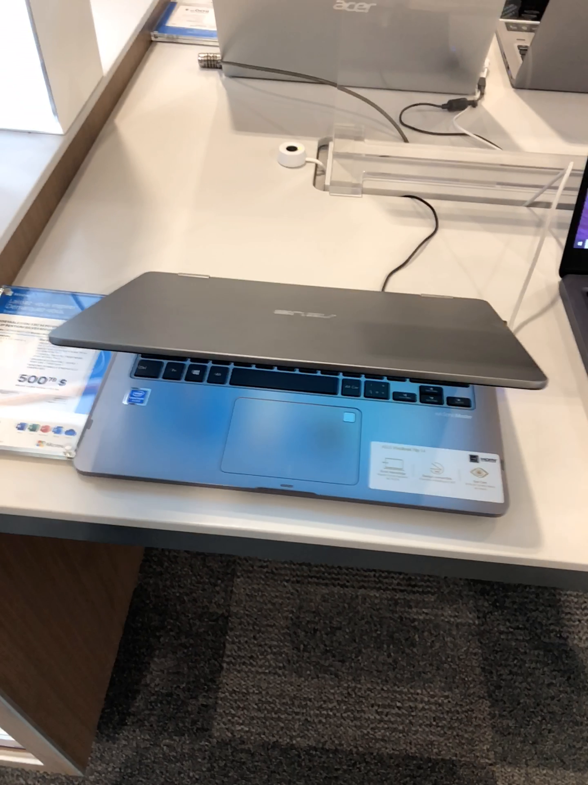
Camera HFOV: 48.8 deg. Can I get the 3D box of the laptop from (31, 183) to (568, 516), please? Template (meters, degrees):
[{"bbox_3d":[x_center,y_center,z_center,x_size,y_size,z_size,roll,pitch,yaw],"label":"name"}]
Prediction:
[{"bbox_3d":[0.009,-0.044,0.495,0.321,0.105,0.215,5,49,4],"label":"laptop"}]
